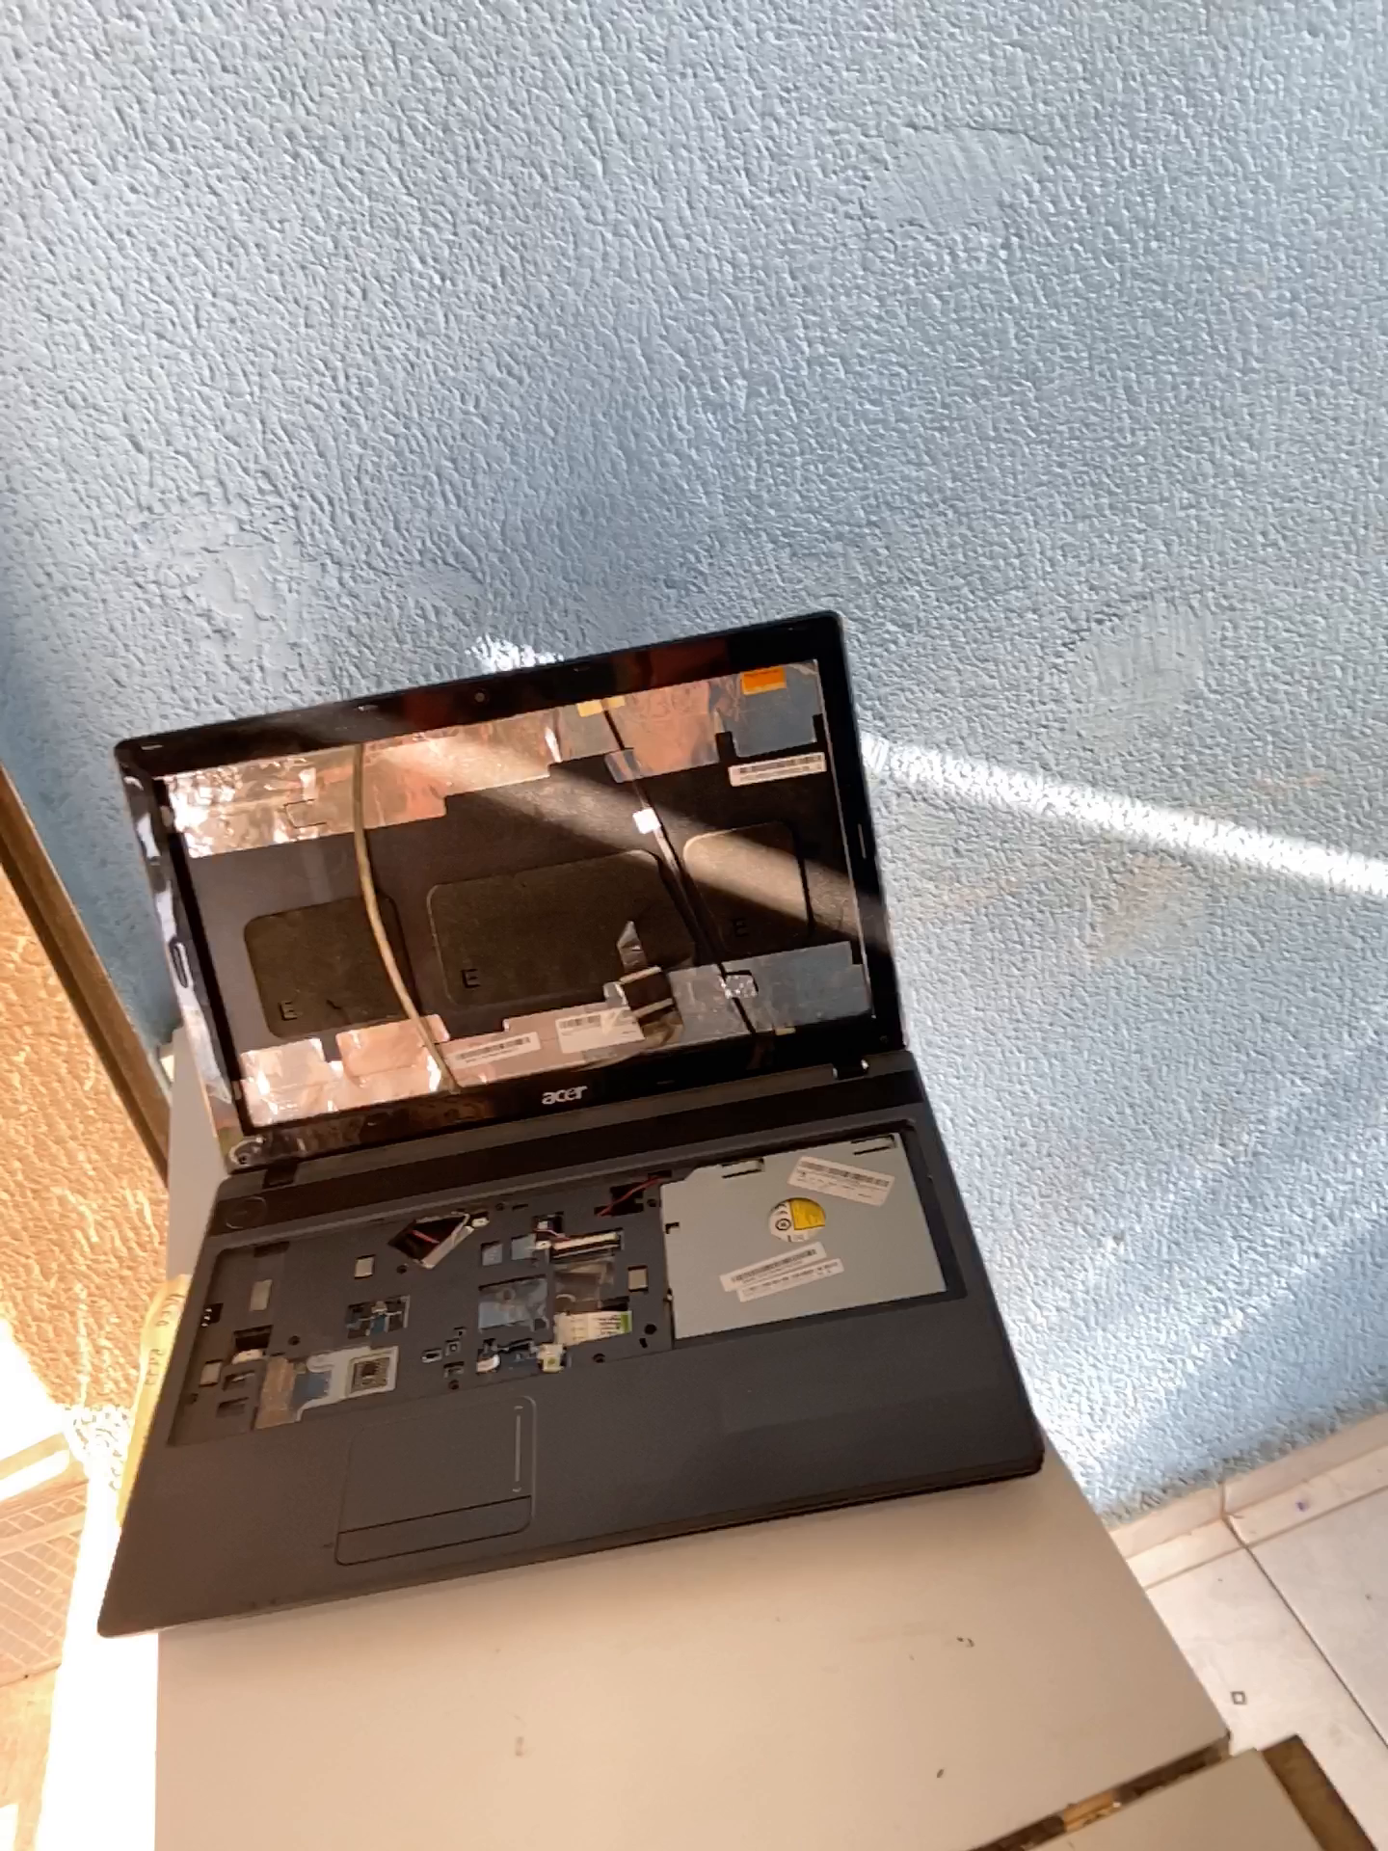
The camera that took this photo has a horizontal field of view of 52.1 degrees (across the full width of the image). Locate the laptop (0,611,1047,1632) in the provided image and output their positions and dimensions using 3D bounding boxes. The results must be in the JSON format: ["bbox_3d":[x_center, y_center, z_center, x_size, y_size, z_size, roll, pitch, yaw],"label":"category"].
[{"bbox_3d":[-0.081,0.059,0.642,0.378,0.210,0.351,-11,34,2],"label":"laptop"}]
